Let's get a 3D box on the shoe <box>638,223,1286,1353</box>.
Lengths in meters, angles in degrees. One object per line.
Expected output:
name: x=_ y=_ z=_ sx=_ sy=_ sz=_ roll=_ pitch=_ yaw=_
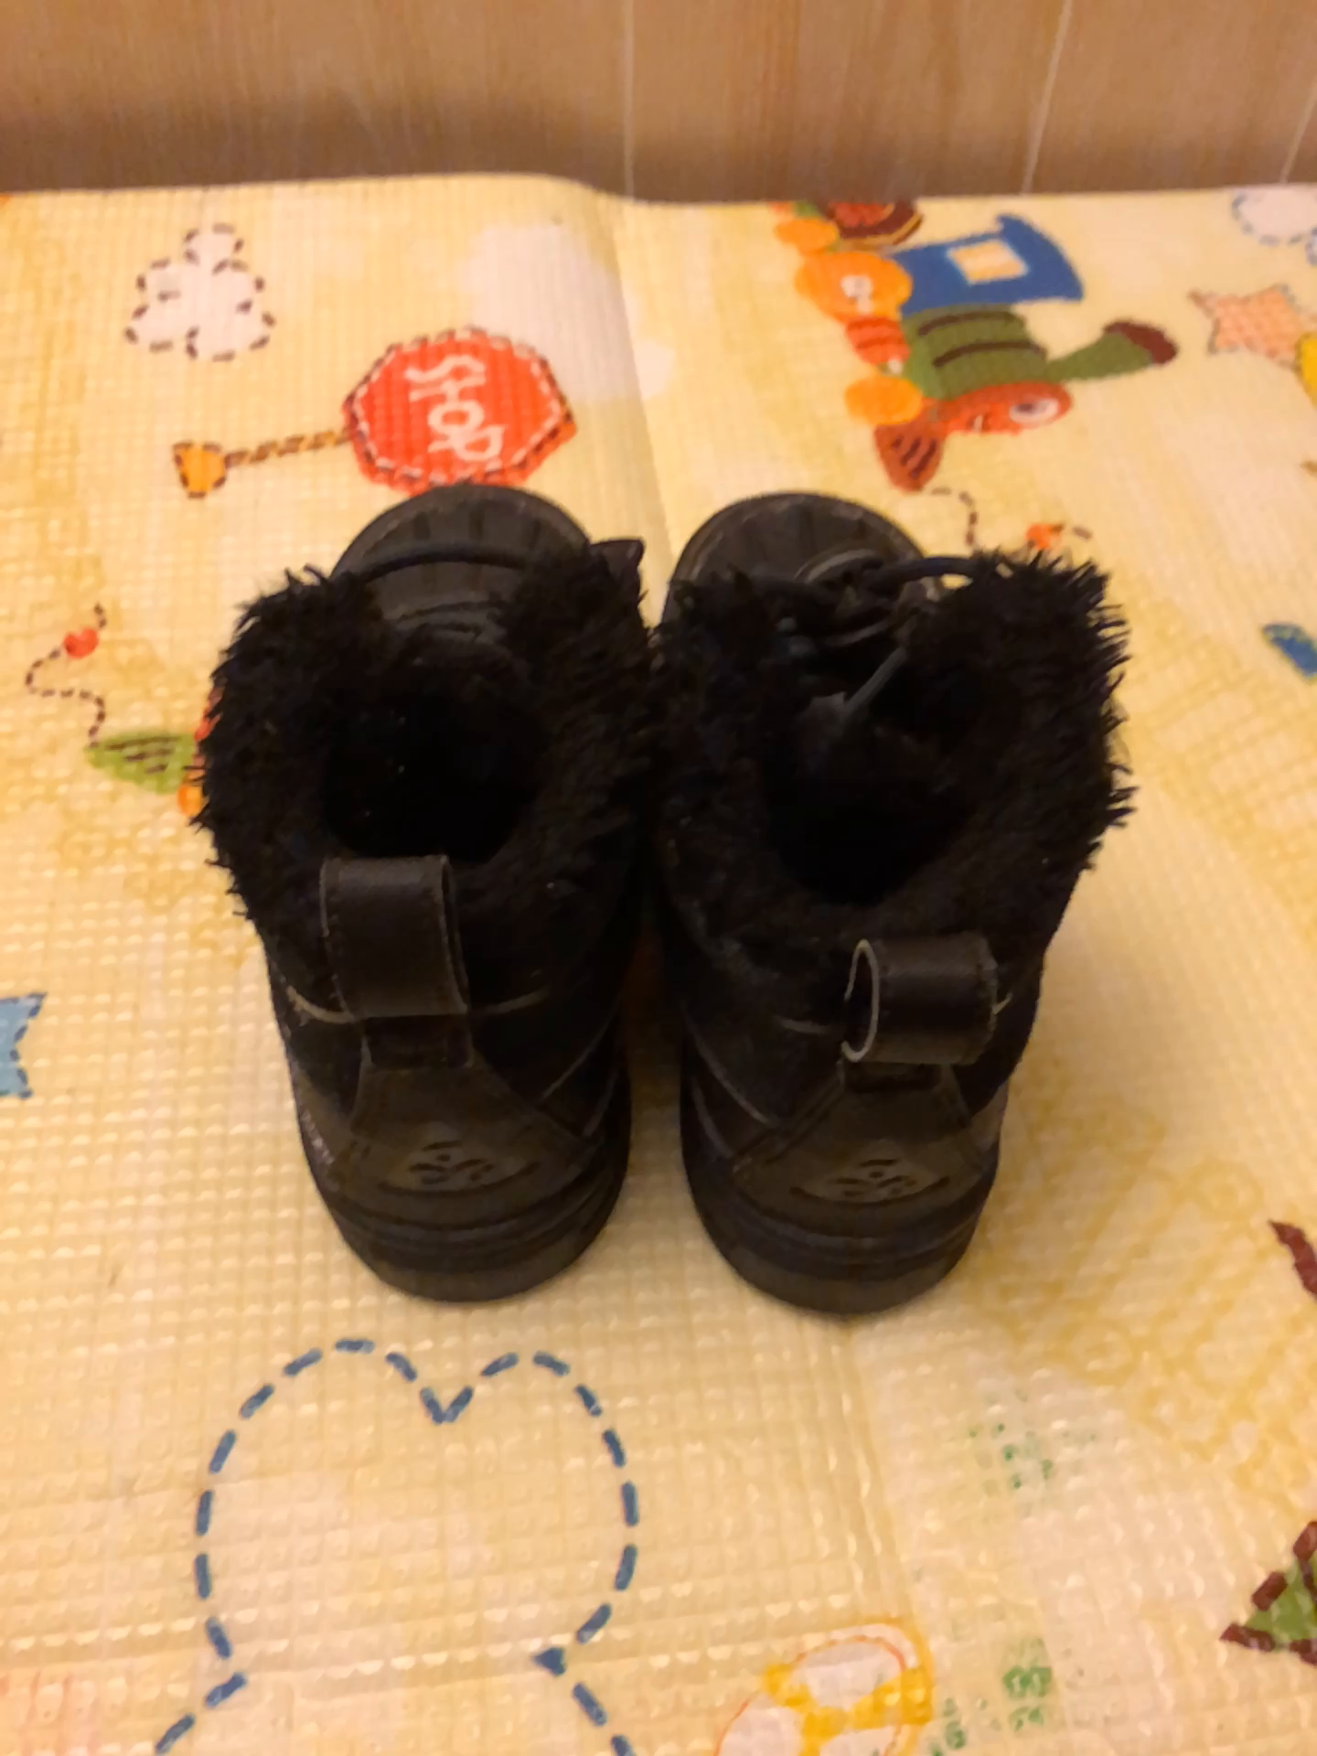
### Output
shoe: x=0.044 y=-0.027 z=0.314 sx=0.090 sy=0.109 sz=0.221 roll=1 pitch=54 yaw=0

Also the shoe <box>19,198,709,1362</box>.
shoe: x=-0.043 y=-0.026 z=0.302 sx=0.090 sy=0.119 sz=0.211 roll=-1 pitch=54 yaw=-2
